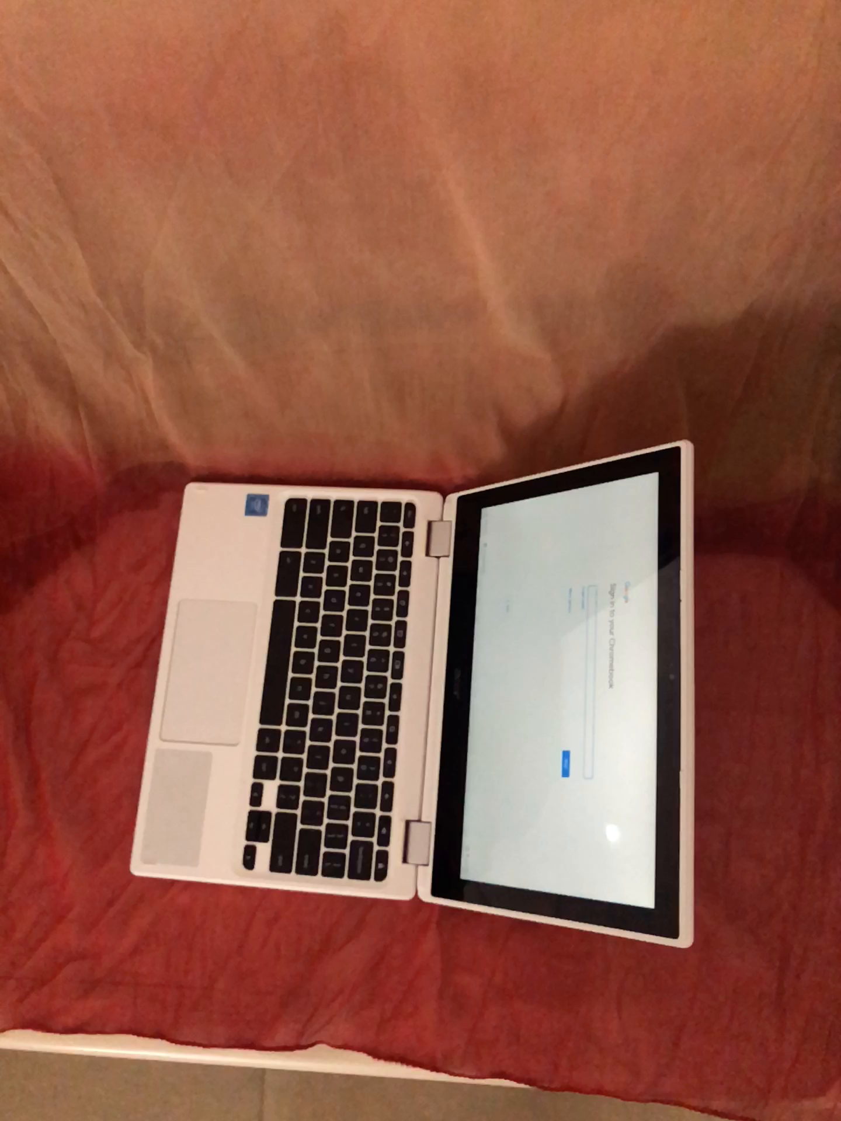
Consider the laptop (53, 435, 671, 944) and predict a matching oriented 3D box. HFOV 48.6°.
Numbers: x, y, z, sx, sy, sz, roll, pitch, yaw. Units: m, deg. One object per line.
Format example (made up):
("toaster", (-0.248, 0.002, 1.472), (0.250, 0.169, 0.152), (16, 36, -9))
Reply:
("laptop", (-0.023, 0.074, 0.586), (0.337, 0.113, 0.263), (3, 75, 8))
